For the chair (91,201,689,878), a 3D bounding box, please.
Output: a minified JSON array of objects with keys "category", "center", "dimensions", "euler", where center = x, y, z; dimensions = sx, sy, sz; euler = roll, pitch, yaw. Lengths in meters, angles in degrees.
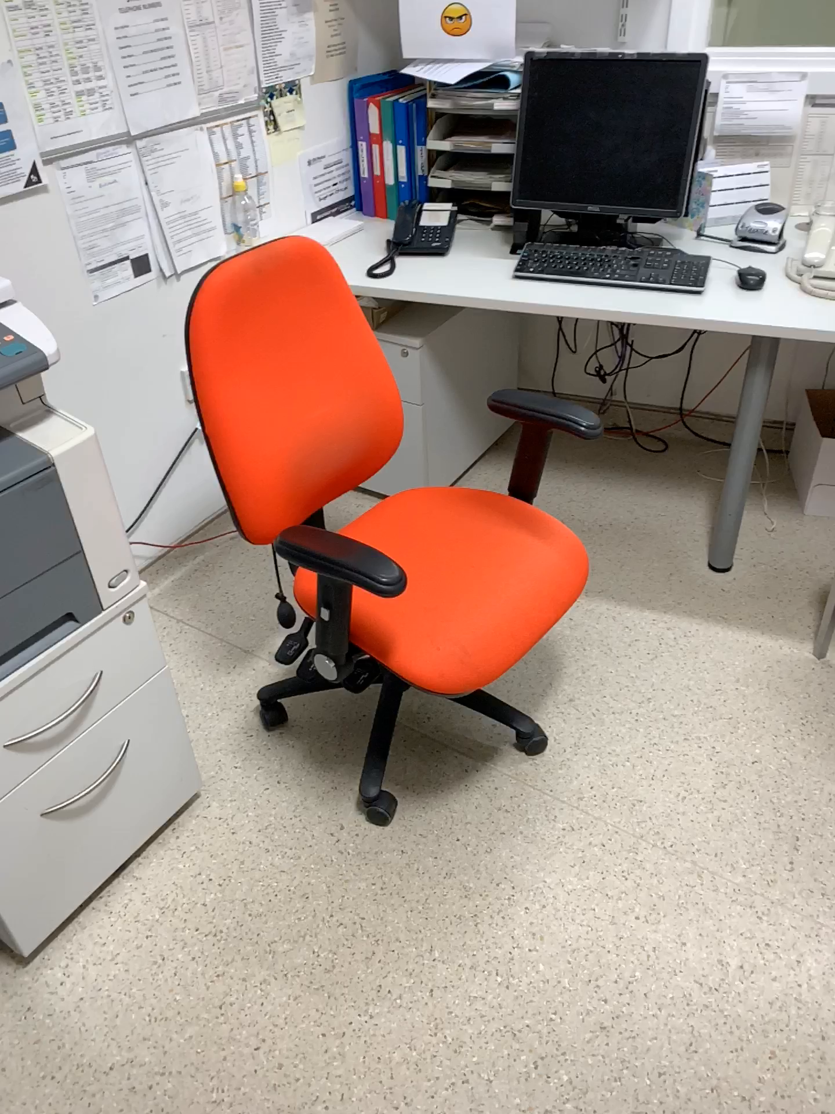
[{"category":"chair","center":[-0.024,-0.080,1.598],"dimensions":[0.688,0.892,0.654],"euler":[26,45,33]}]
